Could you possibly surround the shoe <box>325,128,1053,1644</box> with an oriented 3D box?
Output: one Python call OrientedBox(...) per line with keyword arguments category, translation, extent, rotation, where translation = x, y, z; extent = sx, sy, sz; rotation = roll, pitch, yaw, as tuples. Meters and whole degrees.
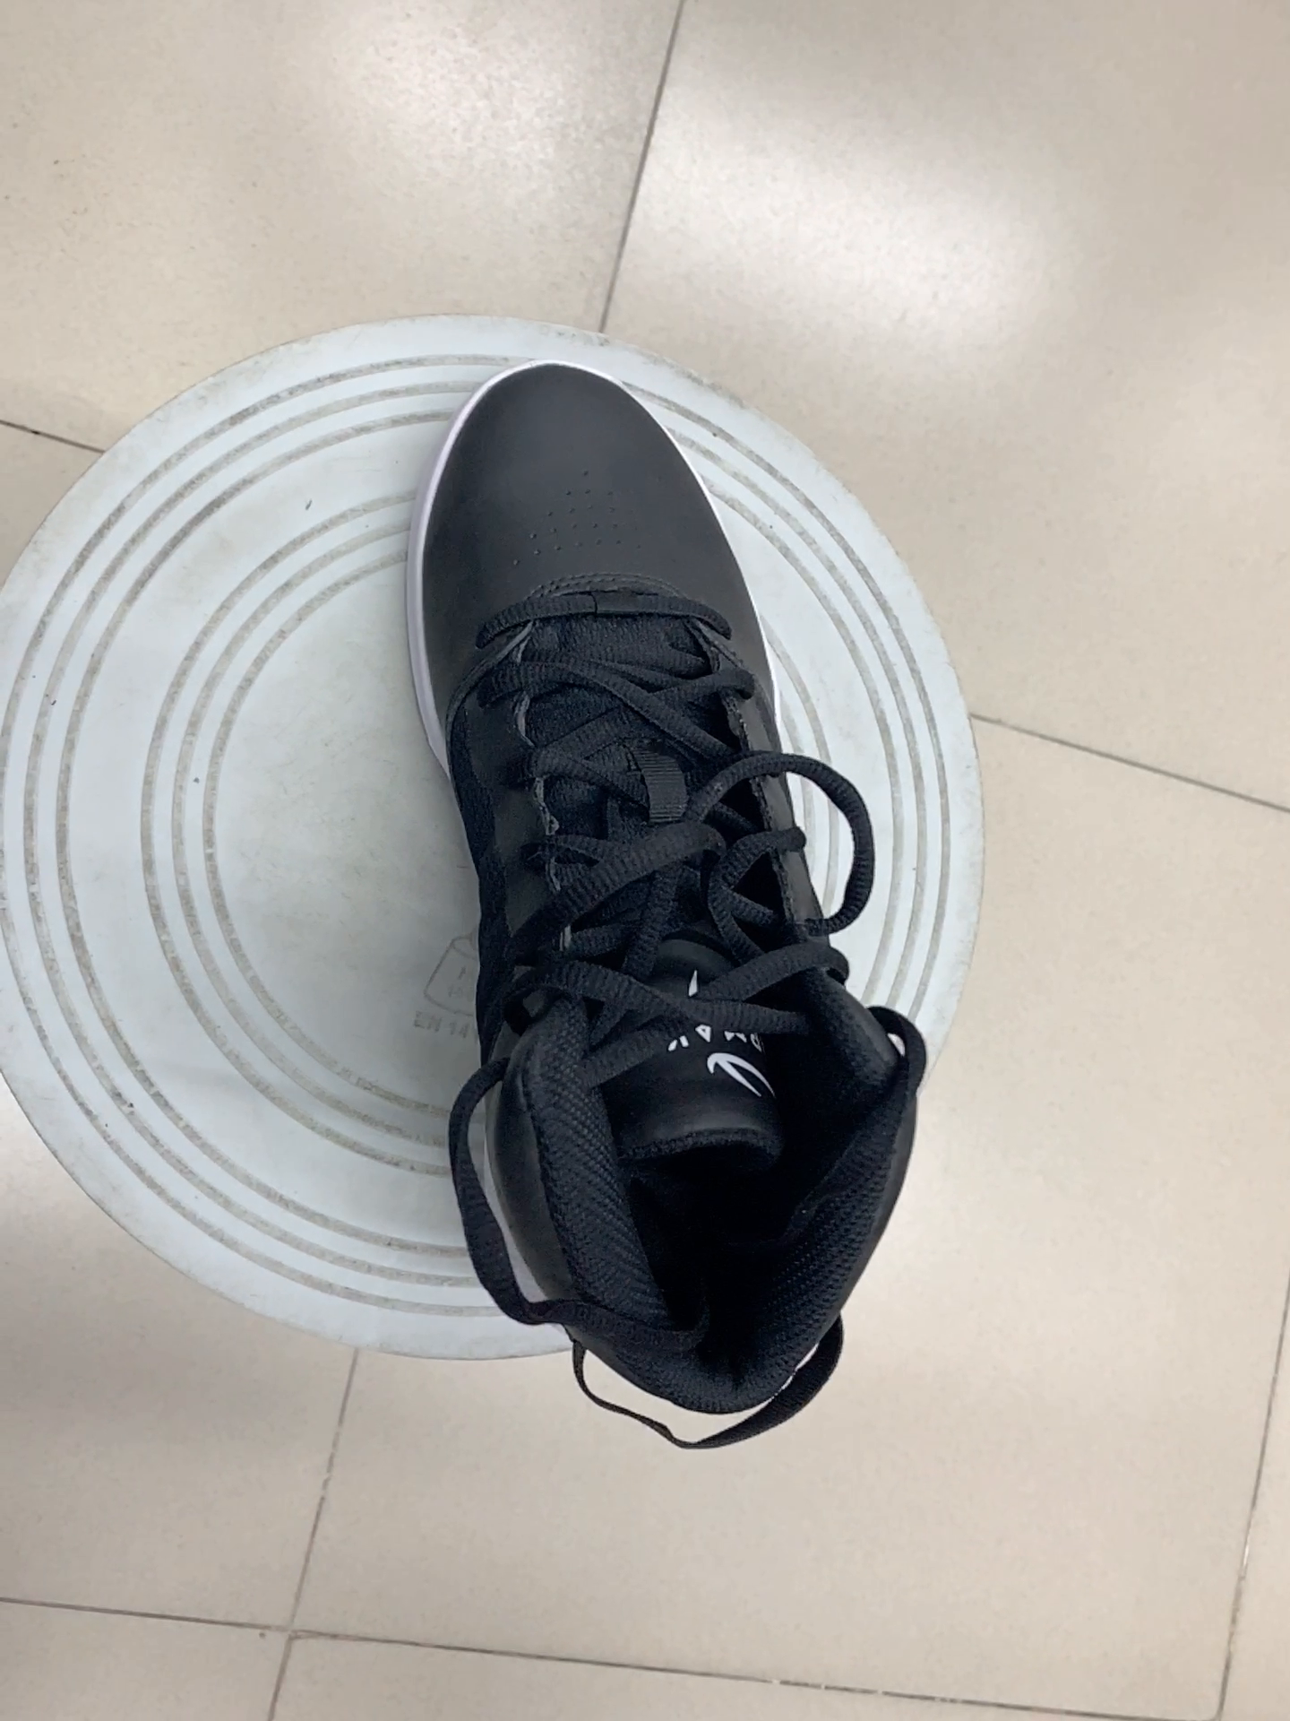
OrientedBox(category="shoe", translation=(-0.002, 0.000, 0.268), extent=(0.090, 0.100, 0.240), rotation=(-8, 88, -15))
